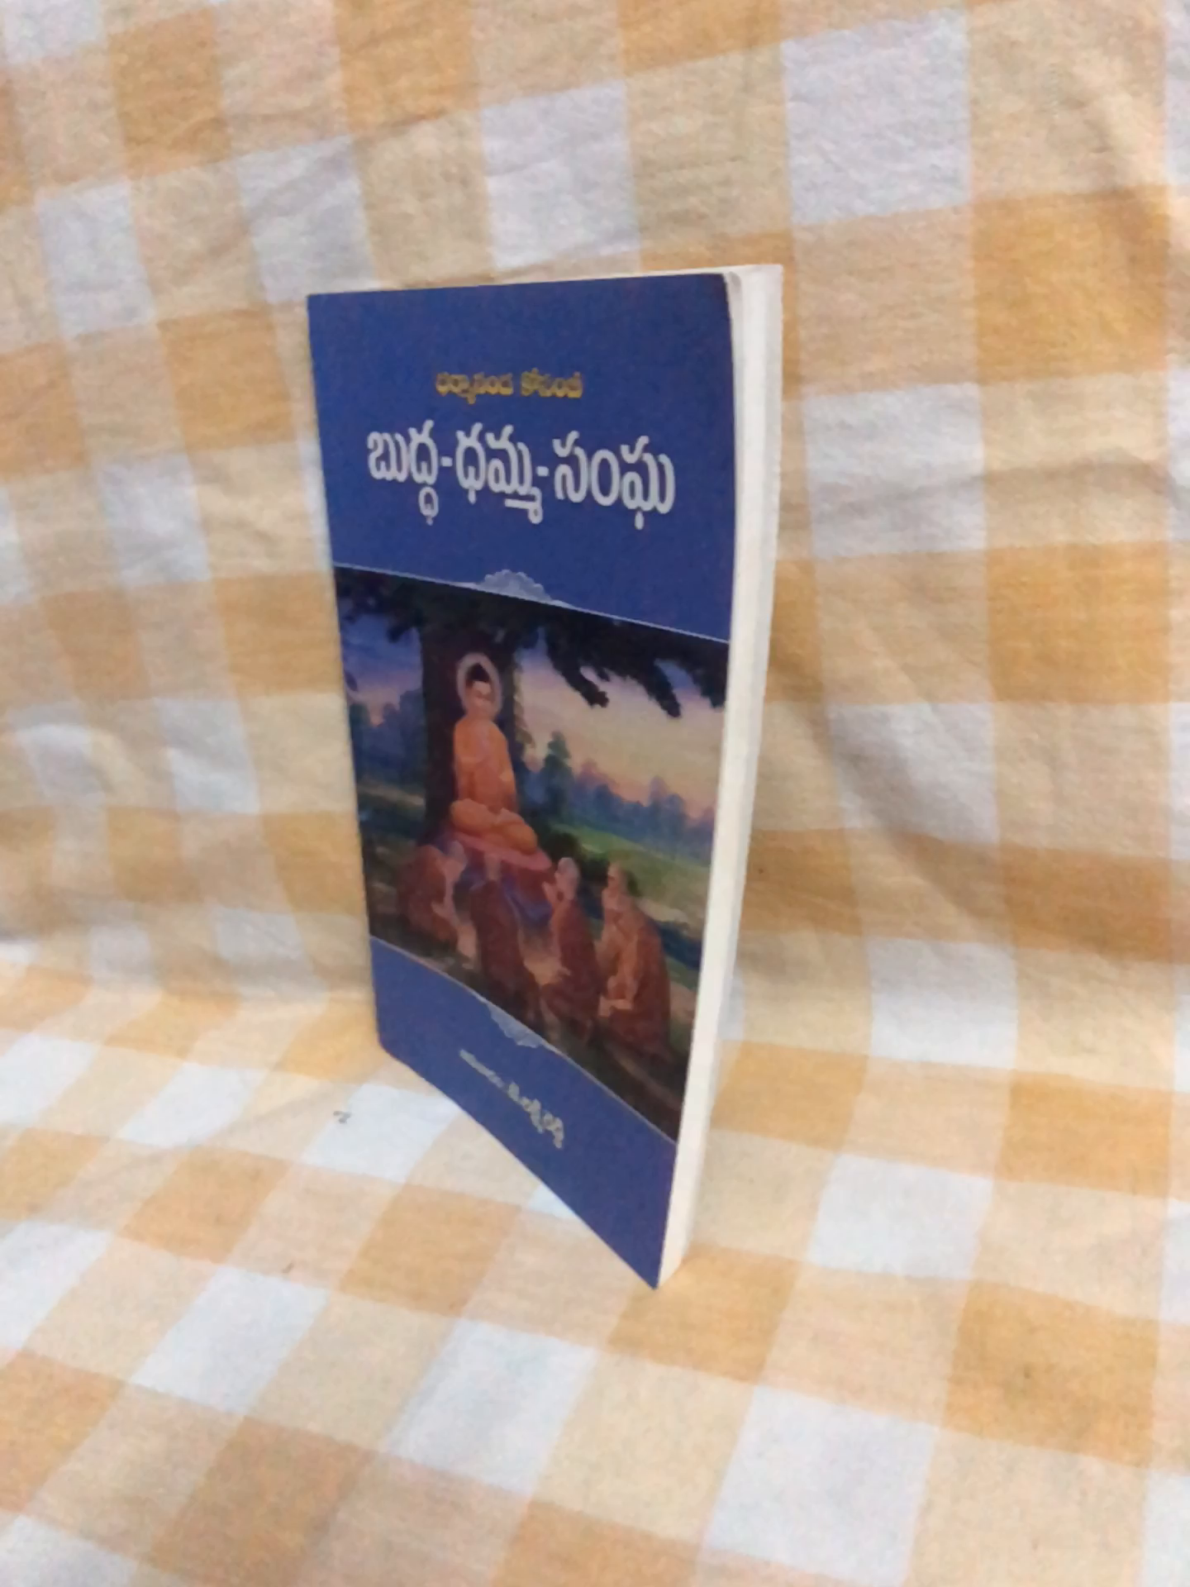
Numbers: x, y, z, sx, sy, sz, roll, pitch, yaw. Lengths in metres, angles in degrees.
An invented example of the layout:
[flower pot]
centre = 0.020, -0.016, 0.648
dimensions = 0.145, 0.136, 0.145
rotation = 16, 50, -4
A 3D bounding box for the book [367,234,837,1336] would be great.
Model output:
[book]
centre = -0.013, -0.010, 0.318
dimensions = 0.020, 0.219, 0.150
rotation = -8, 19, -34
